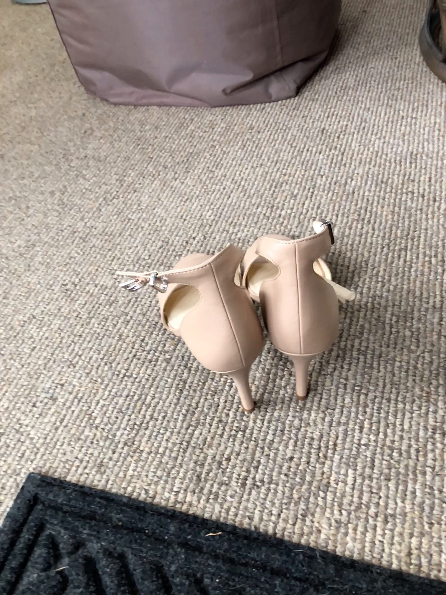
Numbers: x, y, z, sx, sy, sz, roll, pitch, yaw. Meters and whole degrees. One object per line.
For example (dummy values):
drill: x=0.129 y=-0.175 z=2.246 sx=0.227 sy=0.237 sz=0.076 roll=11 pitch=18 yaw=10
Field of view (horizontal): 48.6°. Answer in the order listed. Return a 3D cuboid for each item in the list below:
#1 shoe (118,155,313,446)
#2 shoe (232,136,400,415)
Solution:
shoe: x=-0.011 y=-0.005 z=0.456 sx=0.105 sy=0.144 sz=0.207 roll=-17 pitch=48 yaw=-7
shoe: x=0.074 y=-0.024 z=0.471 sx=0.099 sy=0.154 sz=0.208 roll=-7 pitch=47 yaw=2
